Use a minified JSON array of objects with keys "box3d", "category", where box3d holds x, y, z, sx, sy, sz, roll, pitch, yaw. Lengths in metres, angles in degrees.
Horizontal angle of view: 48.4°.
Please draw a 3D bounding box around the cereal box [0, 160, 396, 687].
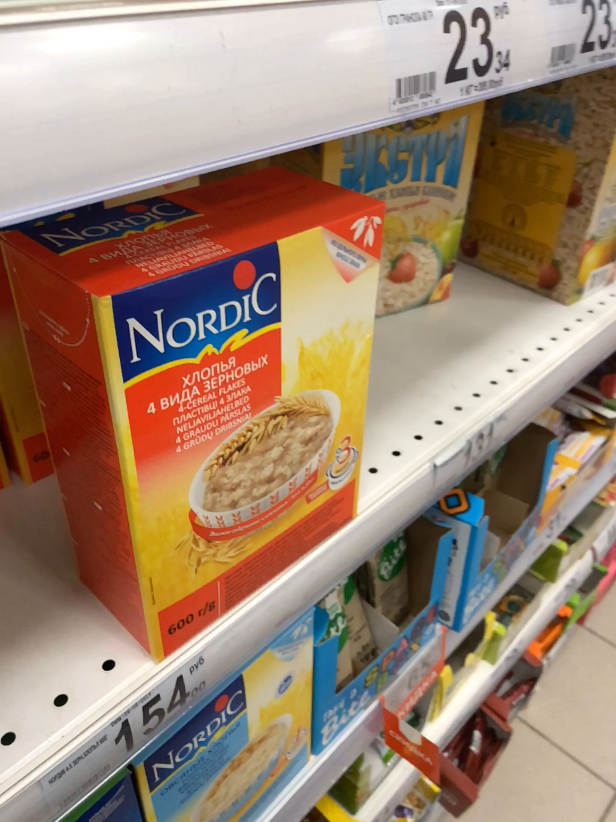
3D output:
[{"box3d":[-0.045,0.002,0.335,0.080,0.199,0.151,30,44,34],"category":"cereal box"}]
